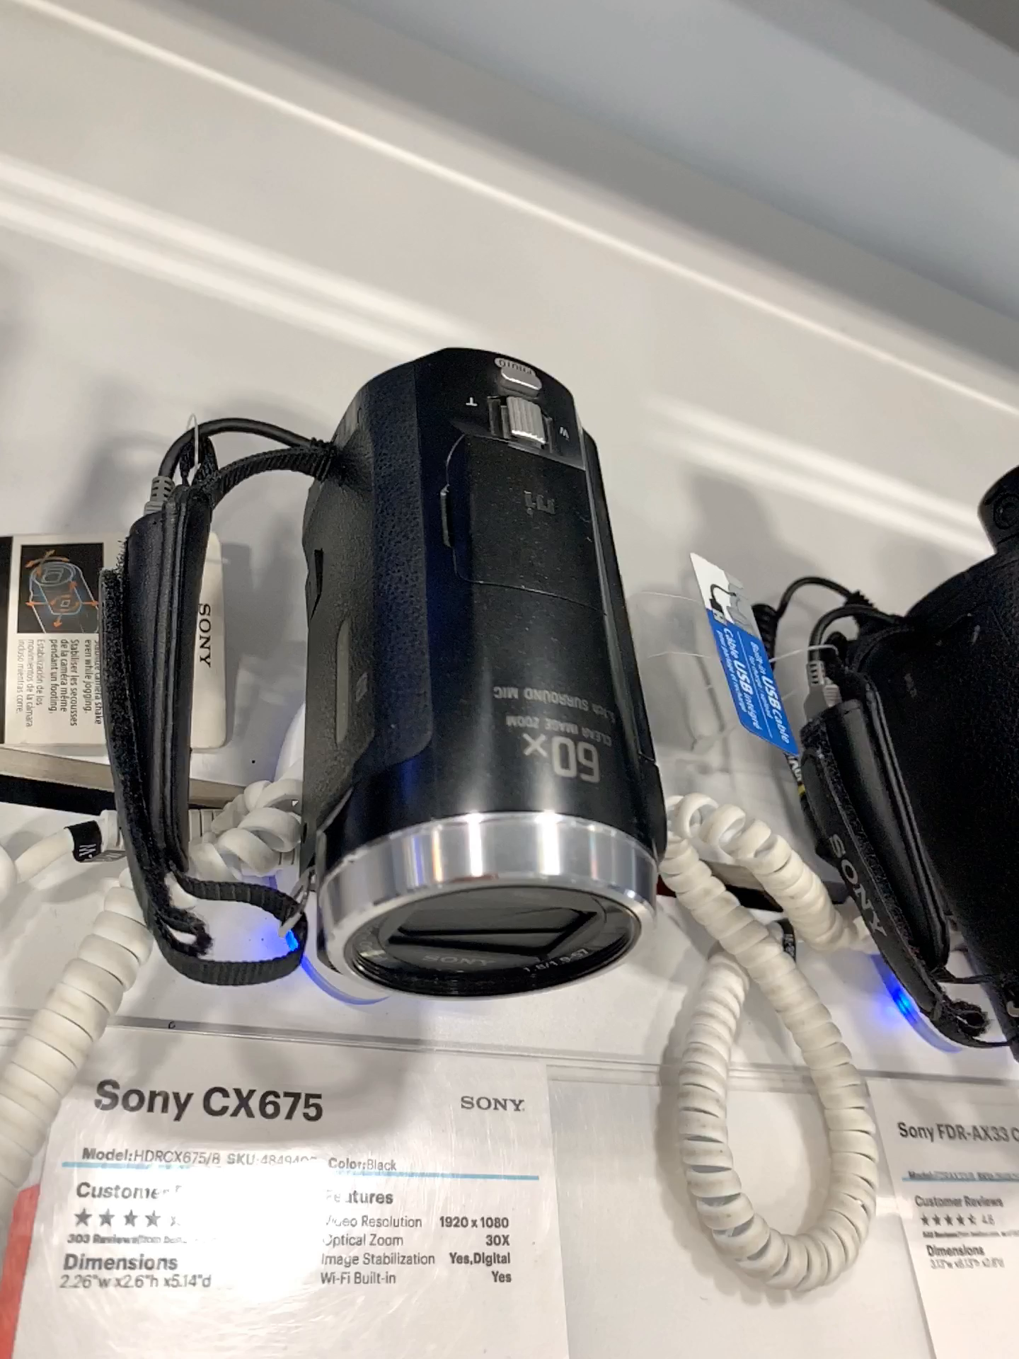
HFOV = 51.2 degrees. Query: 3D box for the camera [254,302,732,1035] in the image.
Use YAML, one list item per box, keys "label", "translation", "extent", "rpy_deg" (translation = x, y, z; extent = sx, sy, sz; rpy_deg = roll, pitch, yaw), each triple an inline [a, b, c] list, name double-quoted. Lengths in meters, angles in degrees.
- label: "camera"
  translation: [-0.009, -0.002, 0.196]
  extent: [0.053, 0.060, 0.113]
  rpy_deg: [12, 52, -24]
